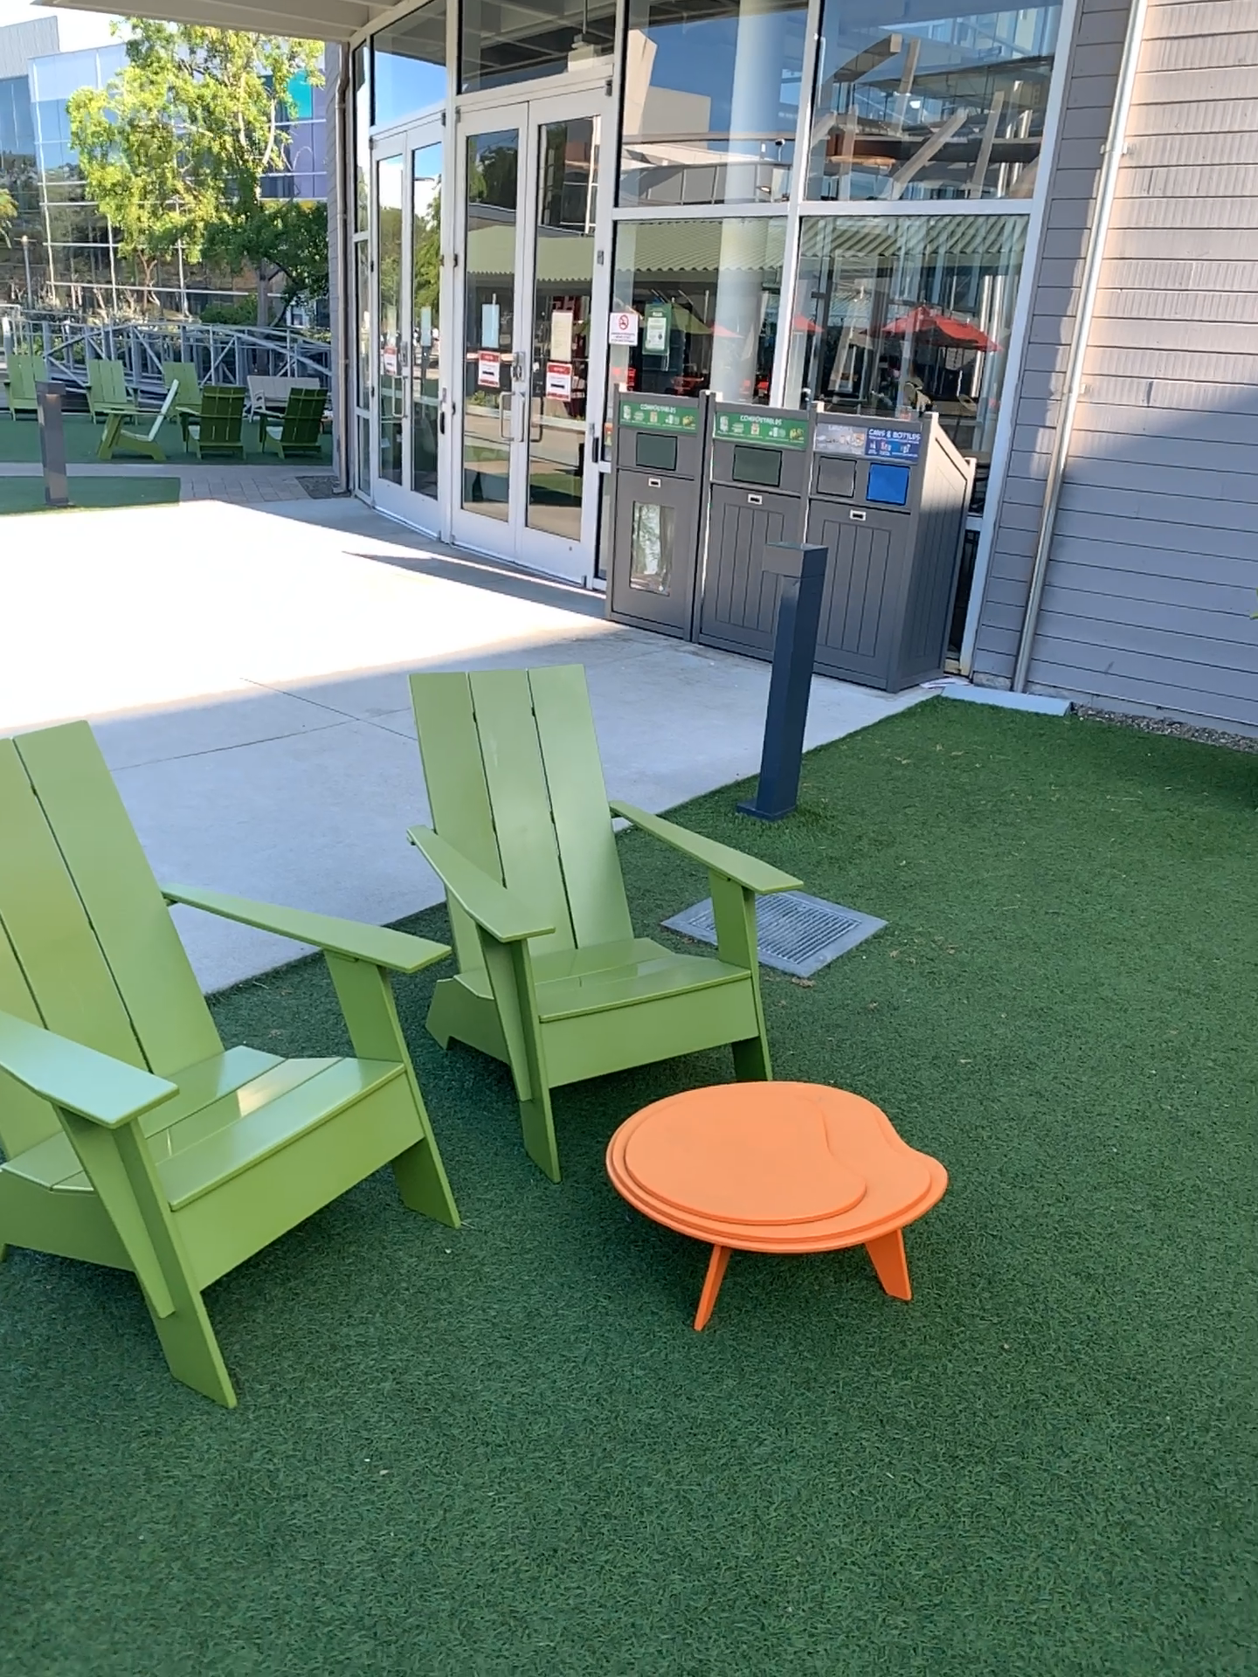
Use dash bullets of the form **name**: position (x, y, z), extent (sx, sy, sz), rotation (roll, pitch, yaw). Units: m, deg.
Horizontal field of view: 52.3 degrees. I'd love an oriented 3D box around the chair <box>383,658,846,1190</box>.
- **chair**: position (-0.096, 0.122, 2.939), extent (0.710, 0.856, 0.854), rotation (-6, 23, -26)
